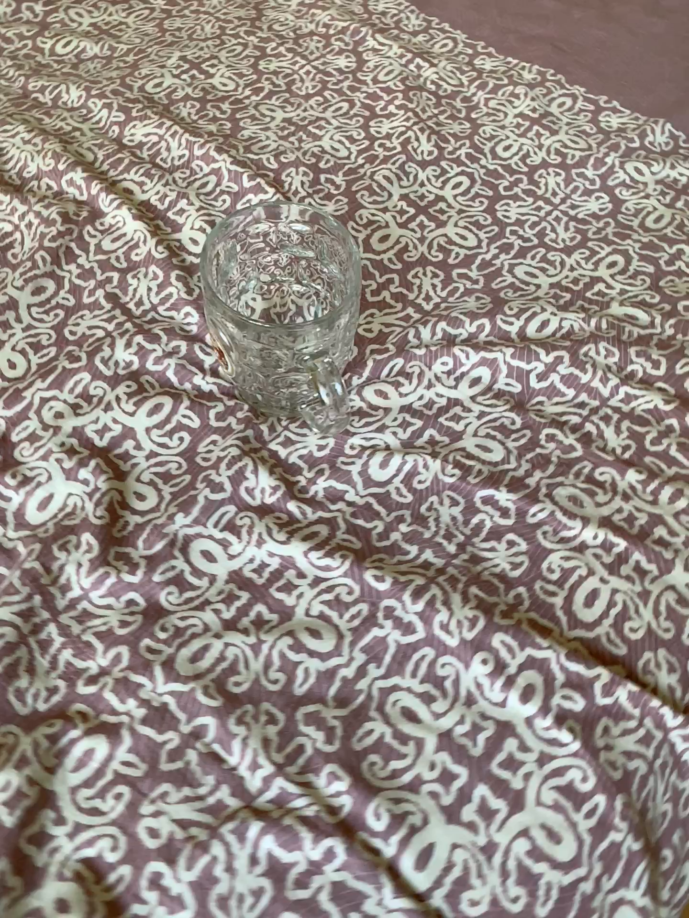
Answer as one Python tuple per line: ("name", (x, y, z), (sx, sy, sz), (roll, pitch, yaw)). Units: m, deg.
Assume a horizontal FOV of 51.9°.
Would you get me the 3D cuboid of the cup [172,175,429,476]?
("cup", (-0.028, -0.078, 0.423), (0.093, 0.099, 0.118), (-26, 66, -16))
